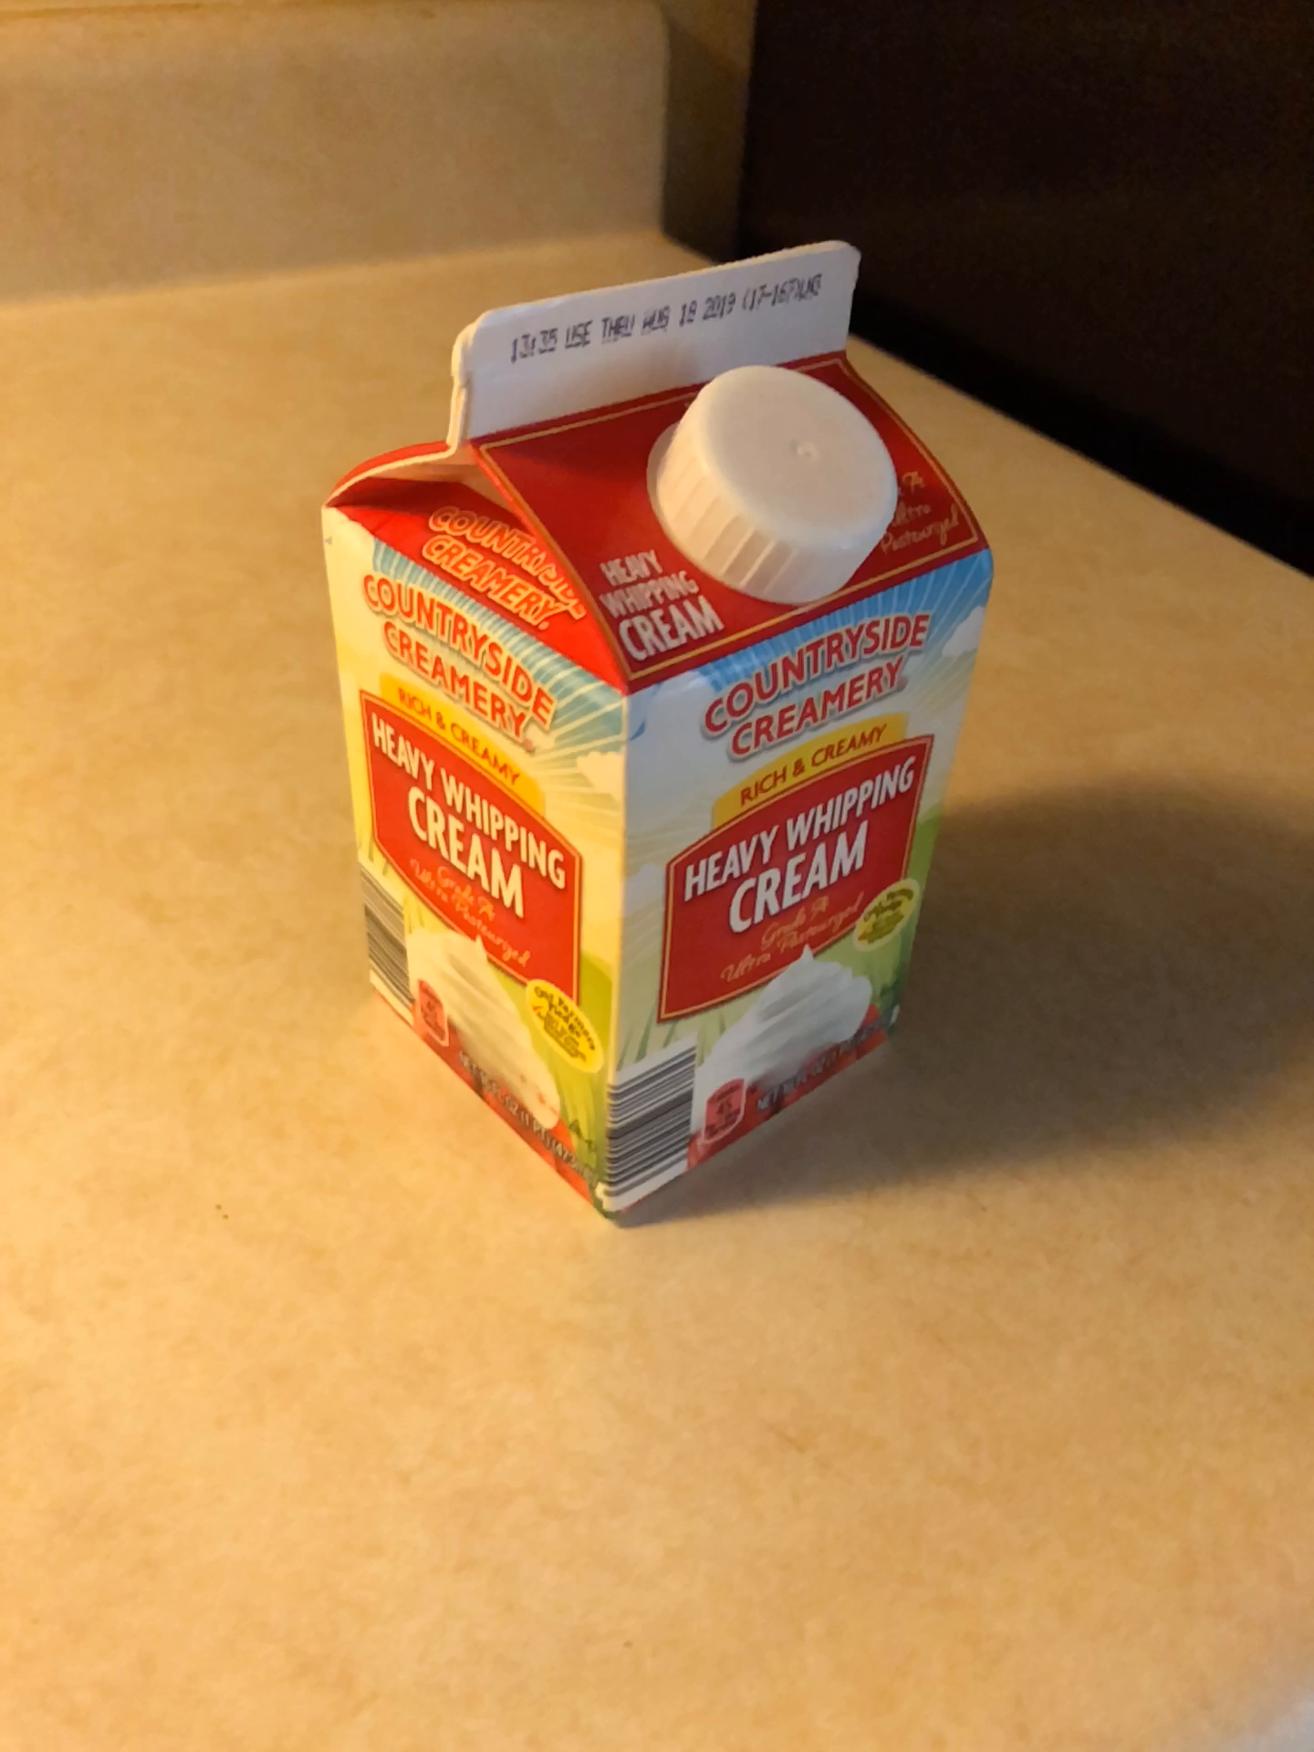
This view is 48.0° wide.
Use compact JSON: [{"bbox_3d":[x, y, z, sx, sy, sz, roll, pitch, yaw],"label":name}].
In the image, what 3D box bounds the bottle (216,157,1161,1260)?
[{"bbox_3d":[0.001,-0.031,0.237,0.090,0.130,0.090,2,37,-2],"label":"bottle"}]
